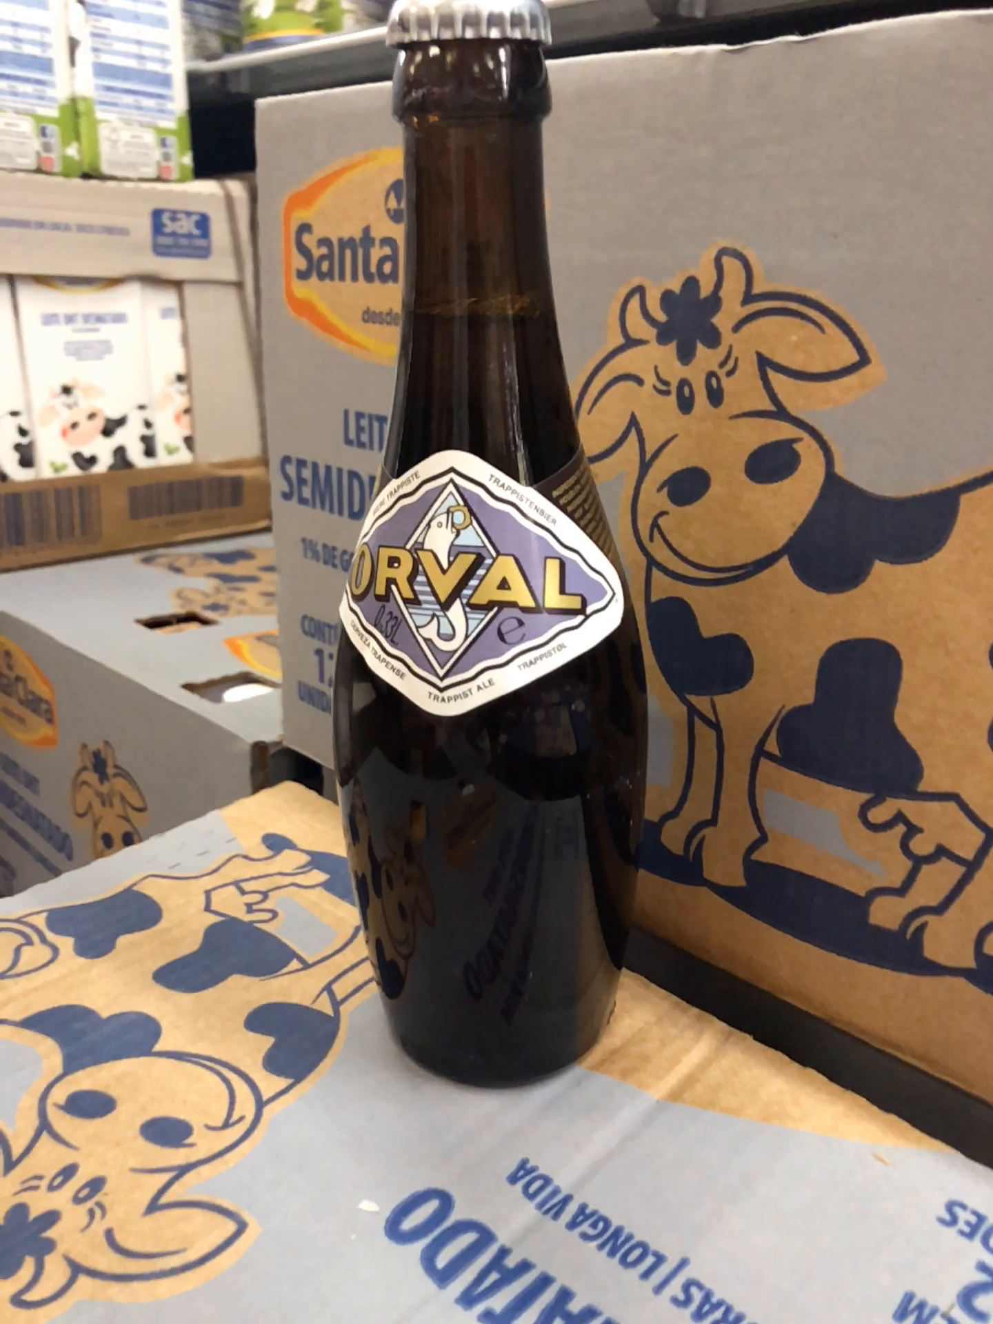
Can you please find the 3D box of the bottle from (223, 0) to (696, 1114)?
[{"bbox_3d":[-0.003,-0.019,0.230,0.070,0.209,0.060,5,19,13],"label":"bottle"}]
